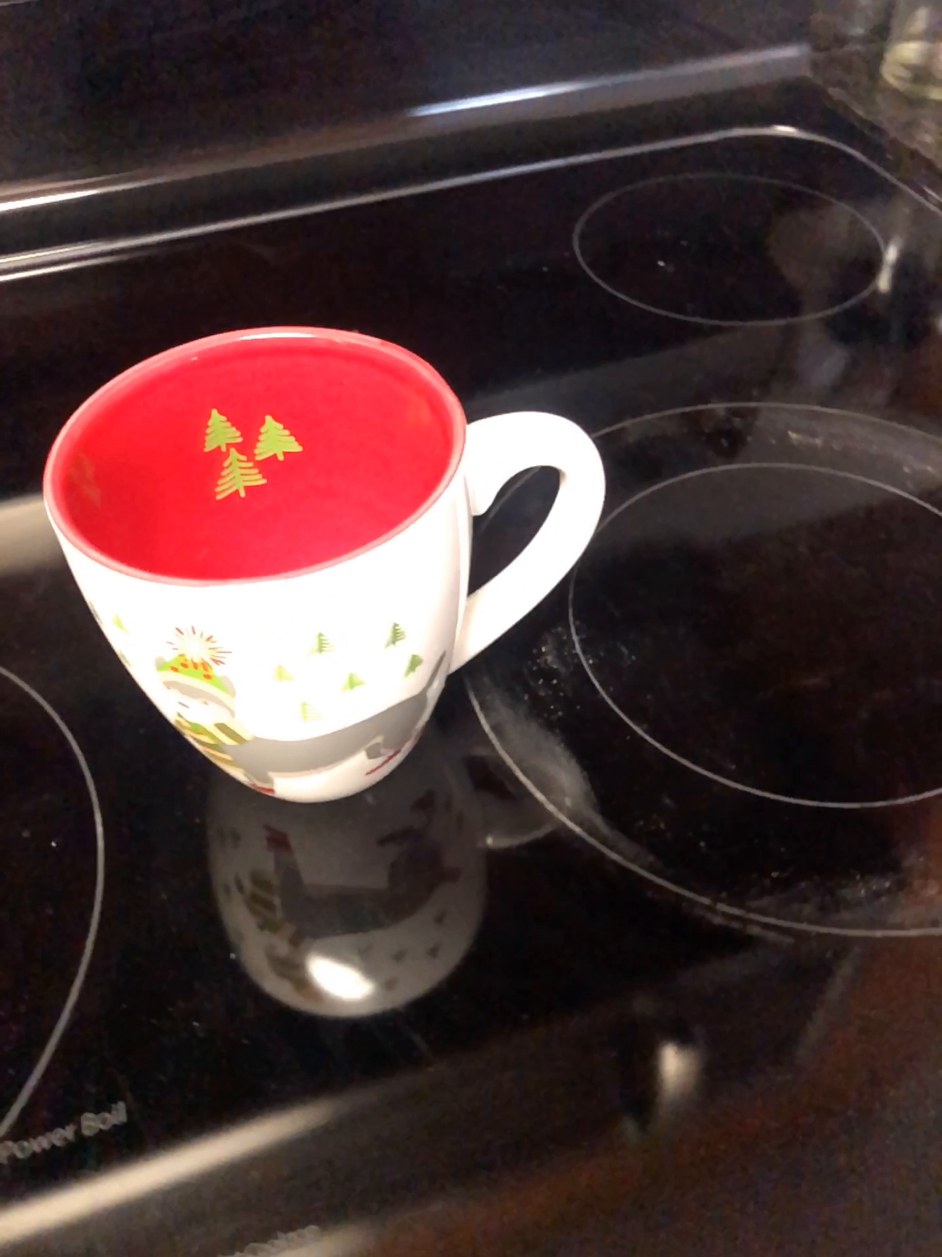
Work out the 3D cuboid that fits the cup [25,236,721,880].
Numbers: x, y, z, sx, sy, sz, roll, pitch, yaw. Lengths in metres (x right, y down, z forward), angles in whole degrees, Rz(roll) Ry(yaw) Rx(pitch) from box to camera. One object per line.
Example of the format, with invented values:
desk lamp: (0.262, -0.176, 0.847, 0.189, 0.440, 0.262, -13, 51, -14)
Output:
cup: (-0.027, -0.022, 0.284, 0.140, 0.100, 0.100, -17, 49, -13)
